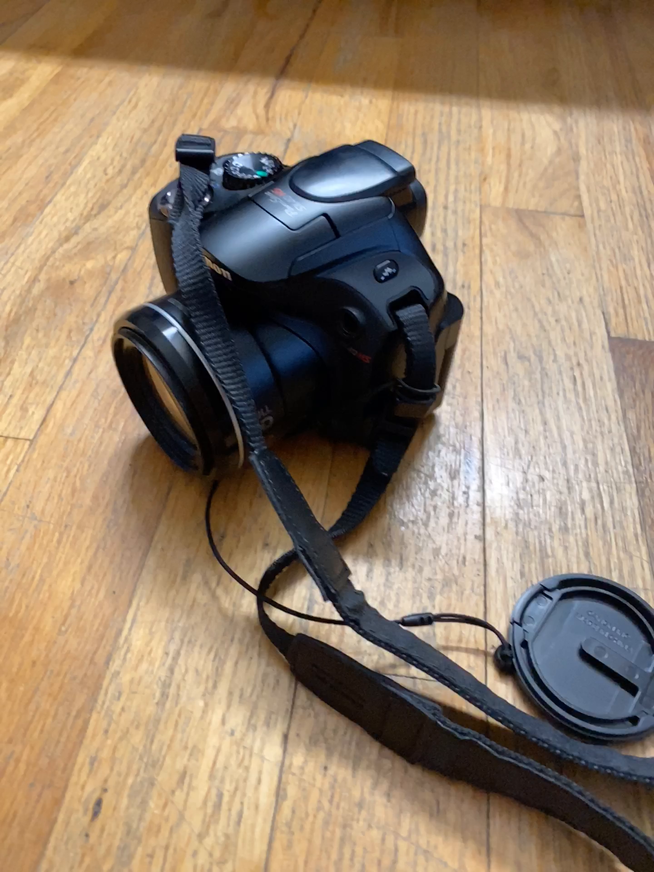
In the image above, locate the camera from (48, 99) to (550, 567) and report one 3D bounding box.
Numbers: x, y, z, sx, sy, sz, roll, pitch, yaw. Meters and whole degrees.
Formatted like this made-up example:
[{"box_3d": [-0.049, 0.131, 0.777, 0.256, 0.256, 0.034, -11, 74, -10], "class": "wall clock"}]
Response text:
[{"box_3d": [-0.013, -0.047, 0.261, 0.120, 0.090, 0.120, -29, 57, -25], "class": "camera"}]
